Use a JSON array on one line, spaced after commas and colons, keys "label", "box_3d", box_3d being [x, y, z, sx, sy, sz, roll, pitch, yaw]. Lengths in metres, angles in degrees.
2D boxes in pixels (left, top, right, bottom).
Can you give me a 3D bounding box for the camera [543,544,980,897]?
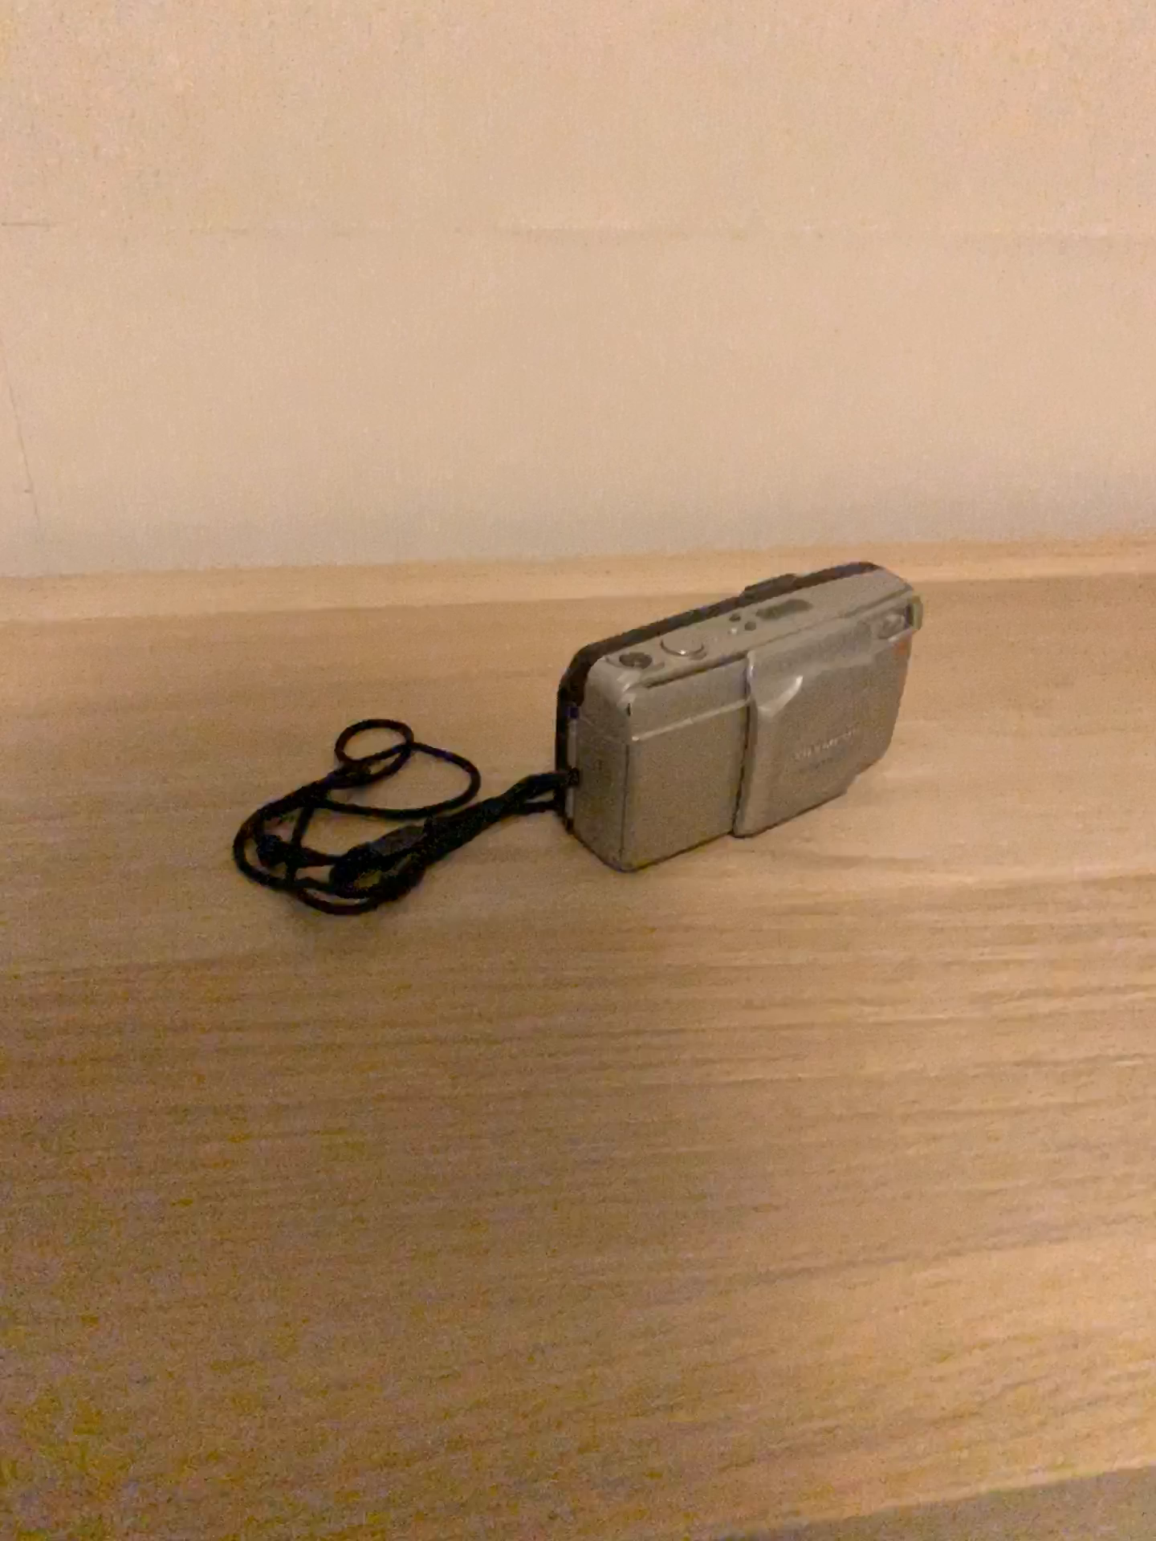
[{"label": "camera", "box_3d": [0.055, -0.020, 0.354, 0.126, 0.059, 0.046, -20, 39, -31]}]
